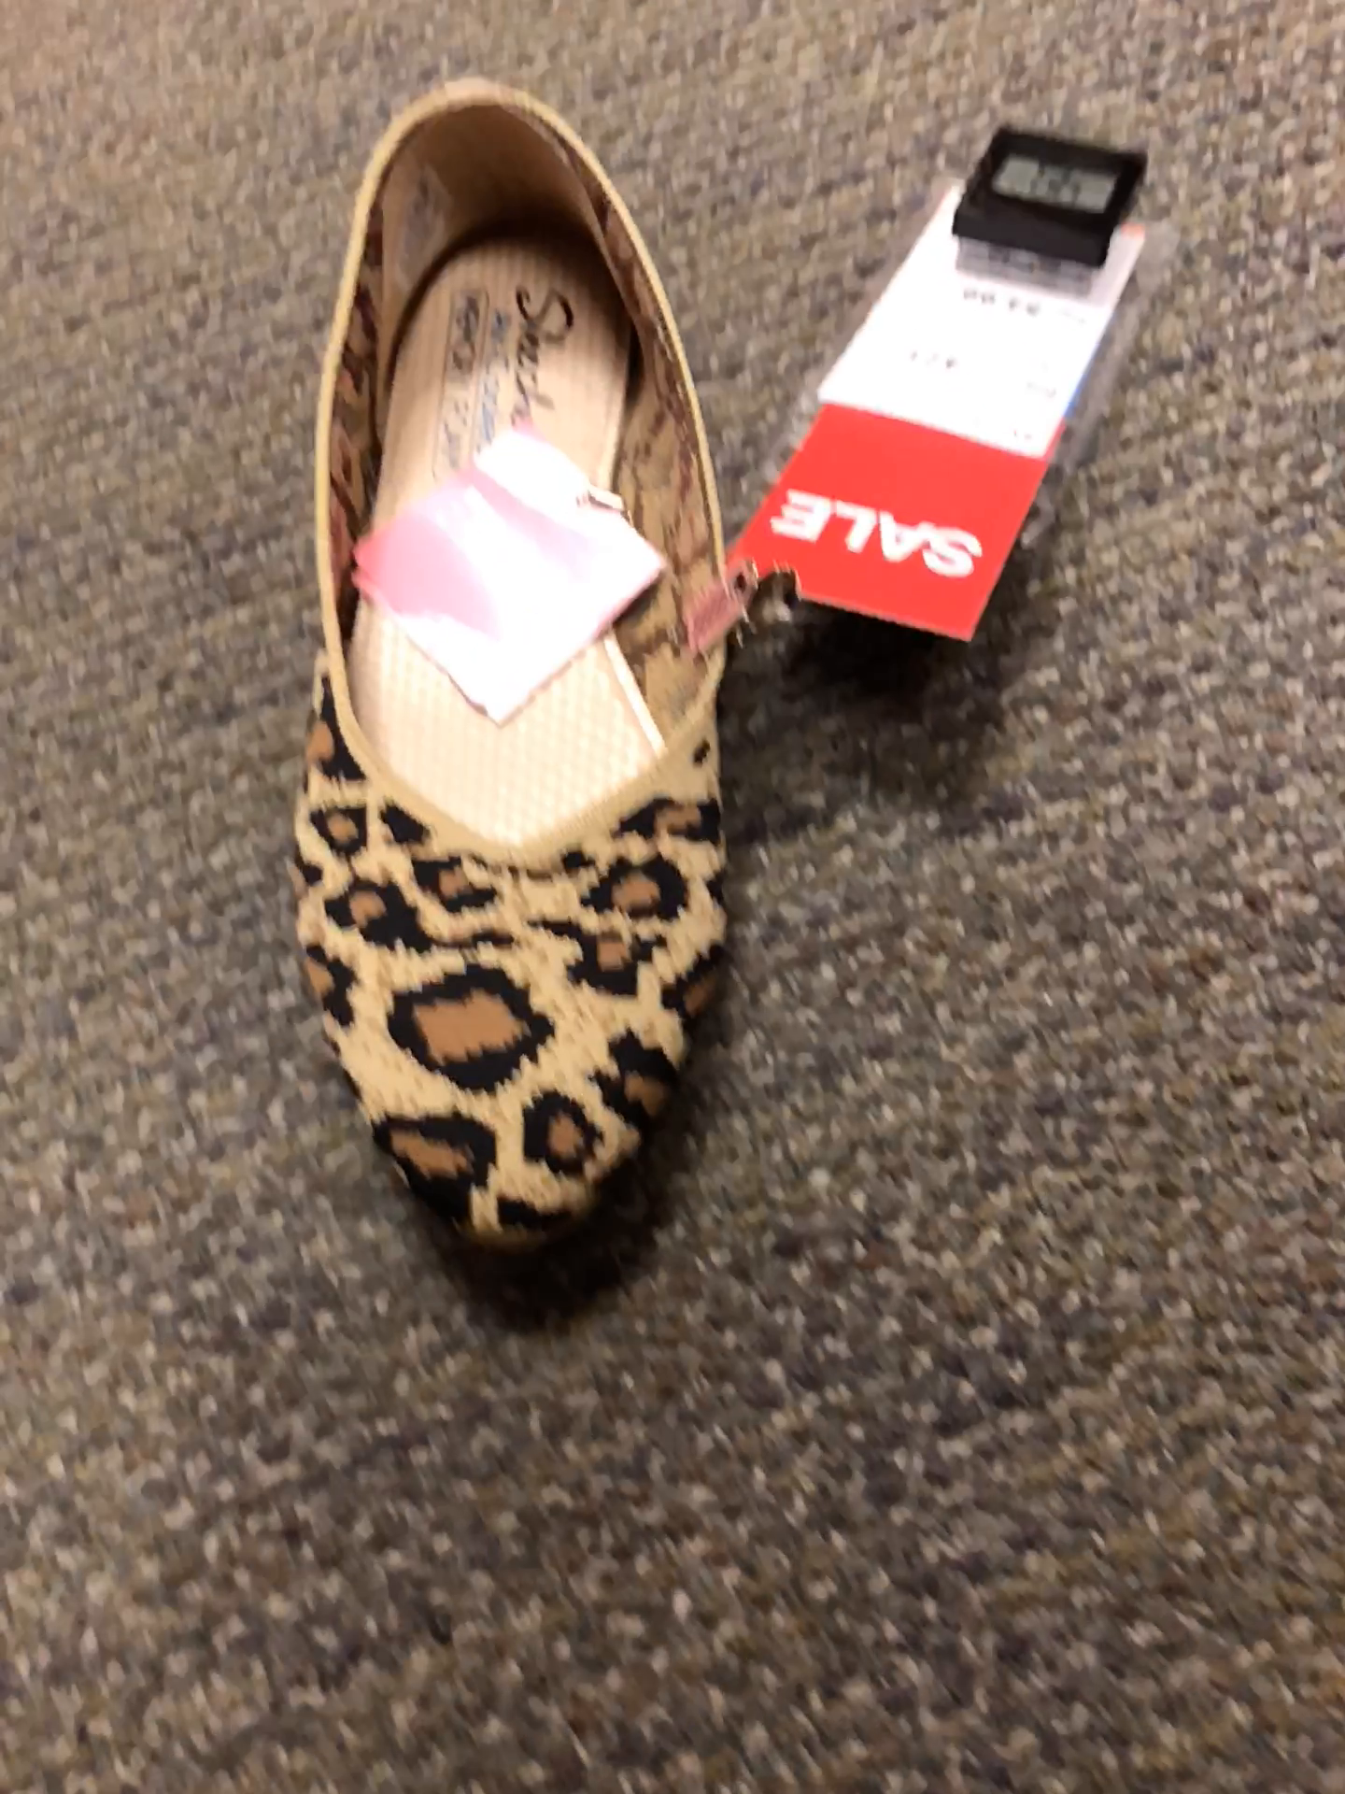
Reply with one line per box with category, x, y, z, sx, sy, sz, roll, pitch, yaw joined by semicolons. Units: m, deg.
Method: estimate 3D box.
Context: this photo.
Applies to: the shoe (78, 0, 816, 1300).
shoe;-0.038;-0.059;0.302;0.105;0.086;0.254;-6;66;4
